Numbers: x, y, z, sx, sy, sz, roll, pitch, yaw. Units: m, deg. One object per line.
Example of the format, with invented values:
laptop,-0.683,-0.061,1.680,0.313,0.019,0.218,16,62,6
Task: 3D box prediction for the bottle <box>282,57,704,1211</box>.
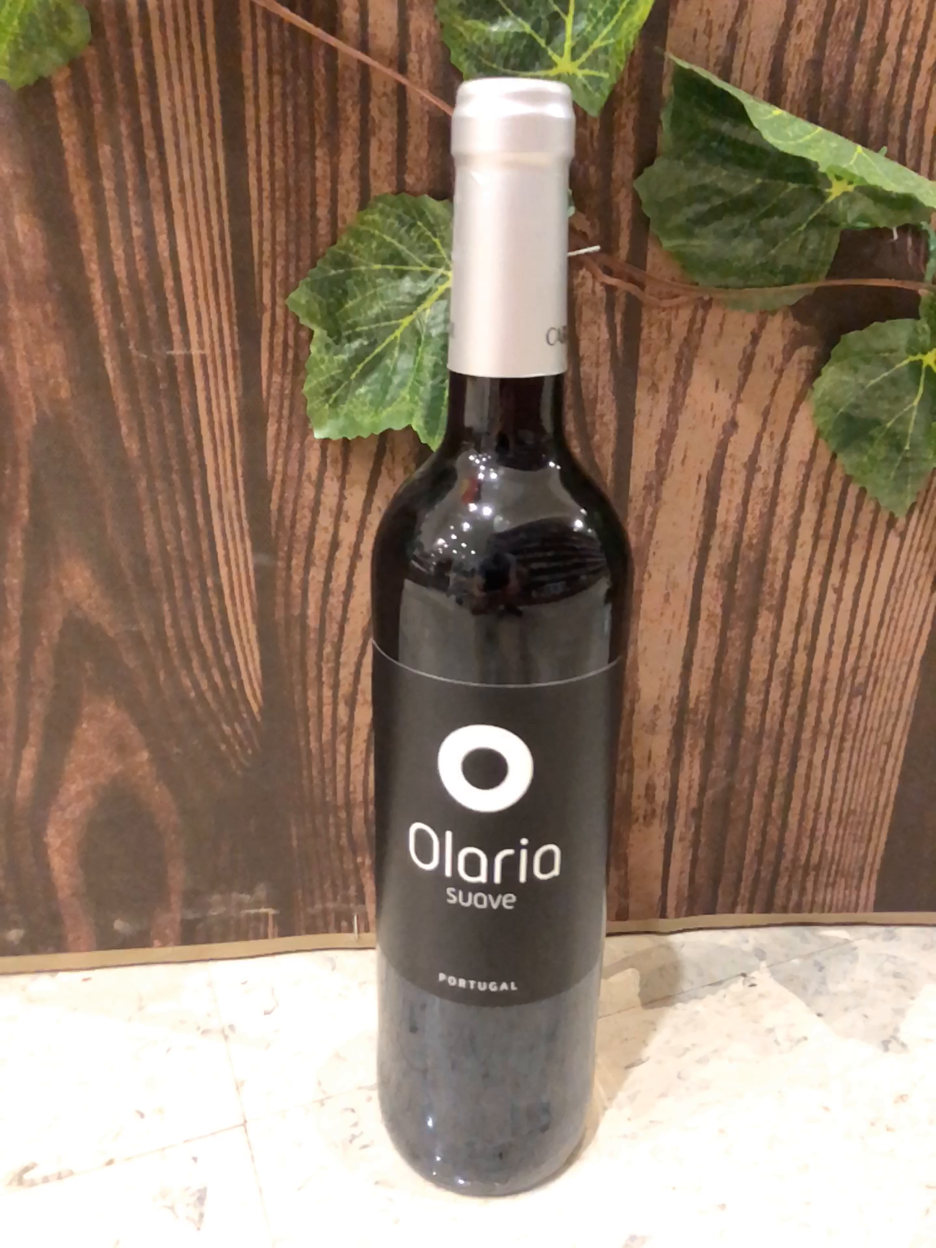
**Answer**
bottle,0.005,0.016,0.288,0.080,0.298,0.081,1,21,0
